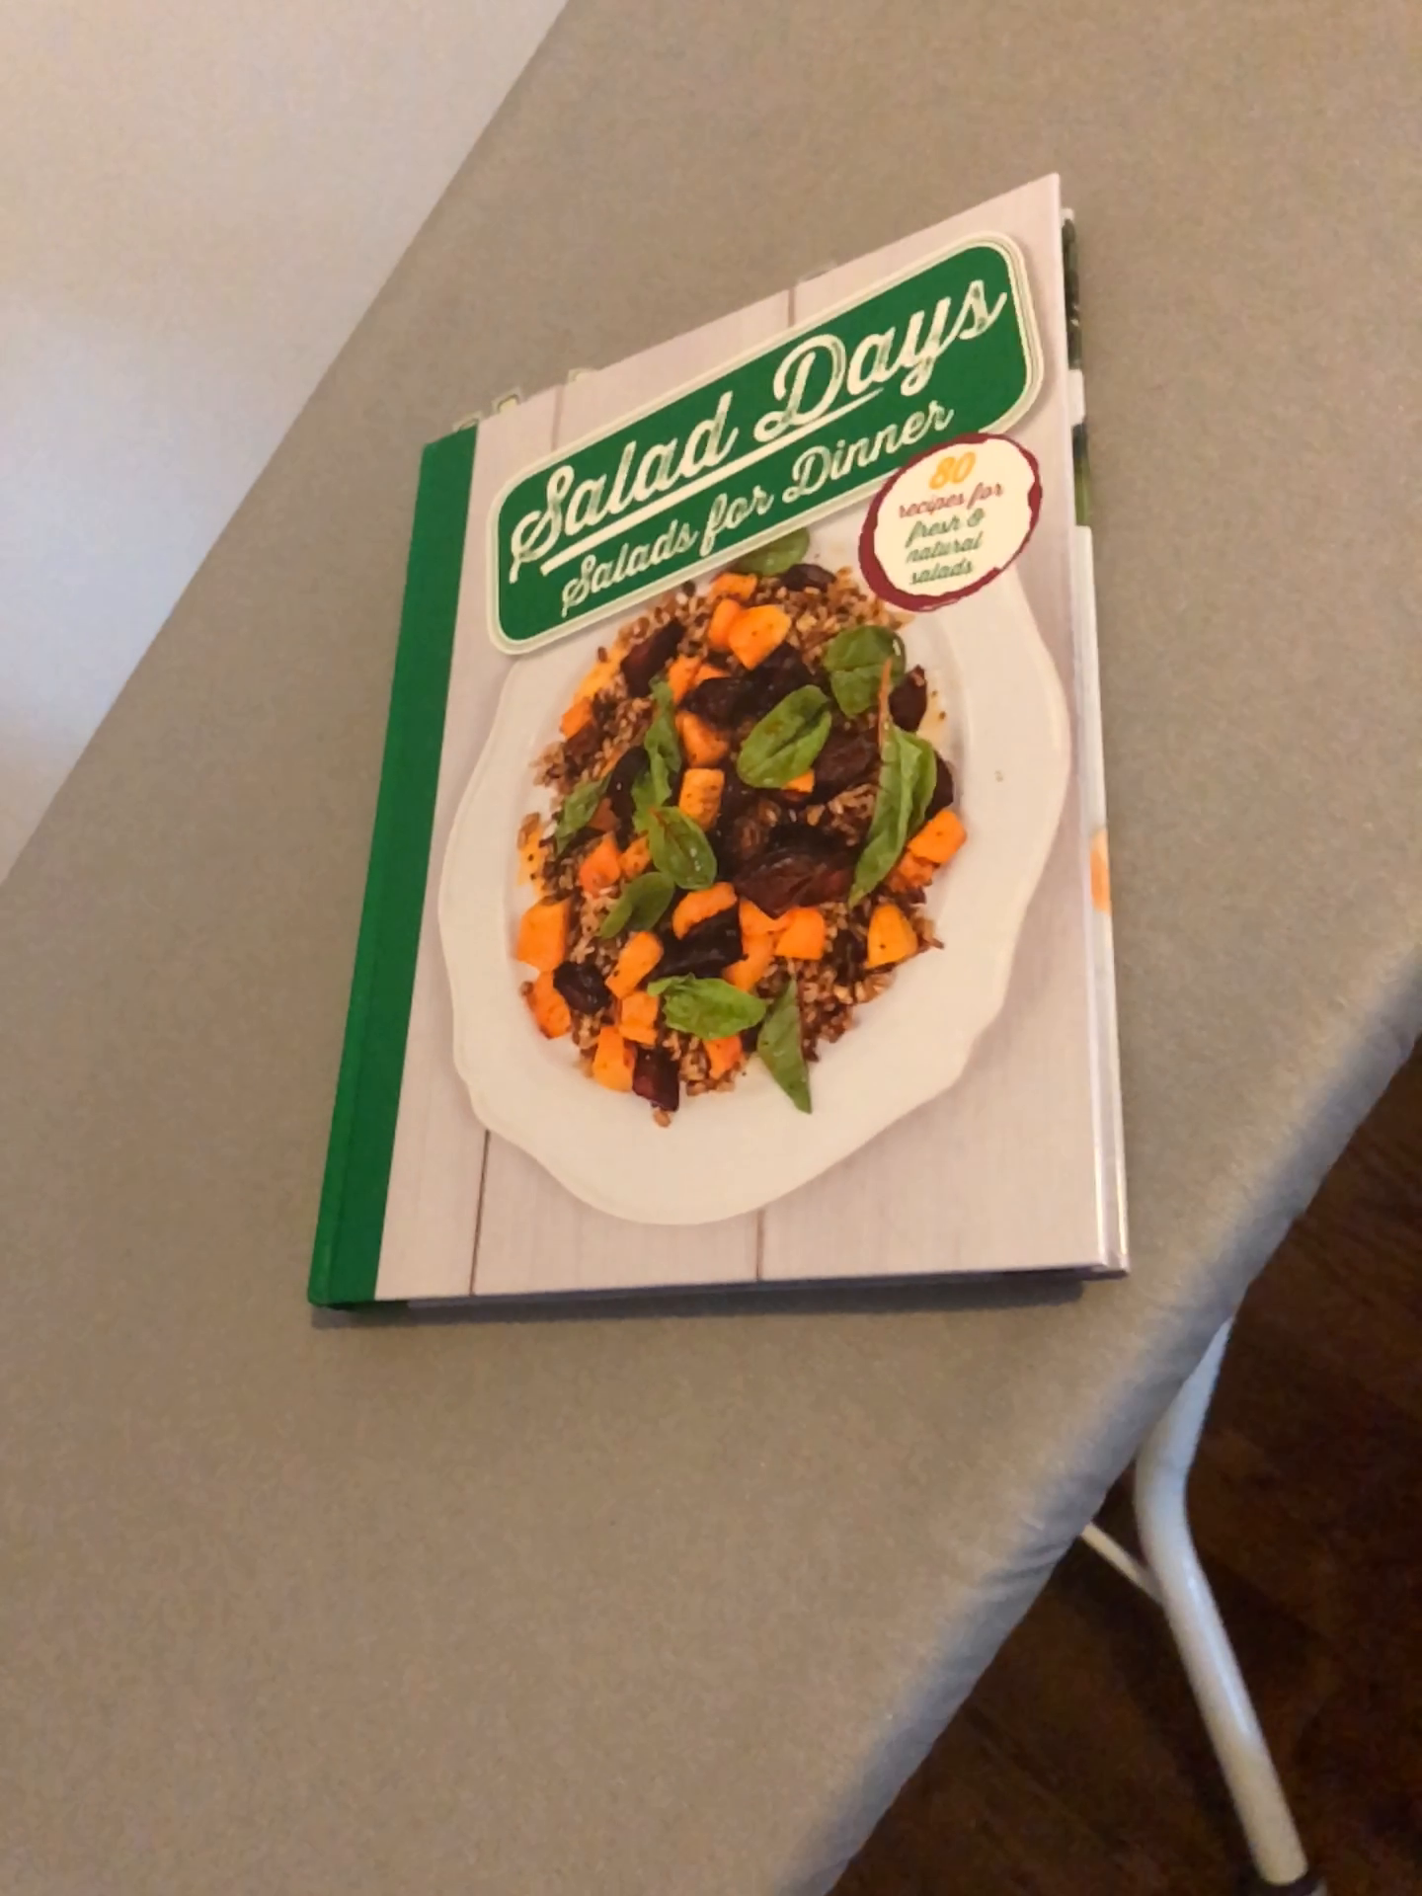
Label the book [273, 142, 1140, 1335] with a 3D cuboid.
[{"bbox_3d":[-0.007,-0.047,0.396,0.214,0.020,0.275,-10,65,31],"label":"book"}]
